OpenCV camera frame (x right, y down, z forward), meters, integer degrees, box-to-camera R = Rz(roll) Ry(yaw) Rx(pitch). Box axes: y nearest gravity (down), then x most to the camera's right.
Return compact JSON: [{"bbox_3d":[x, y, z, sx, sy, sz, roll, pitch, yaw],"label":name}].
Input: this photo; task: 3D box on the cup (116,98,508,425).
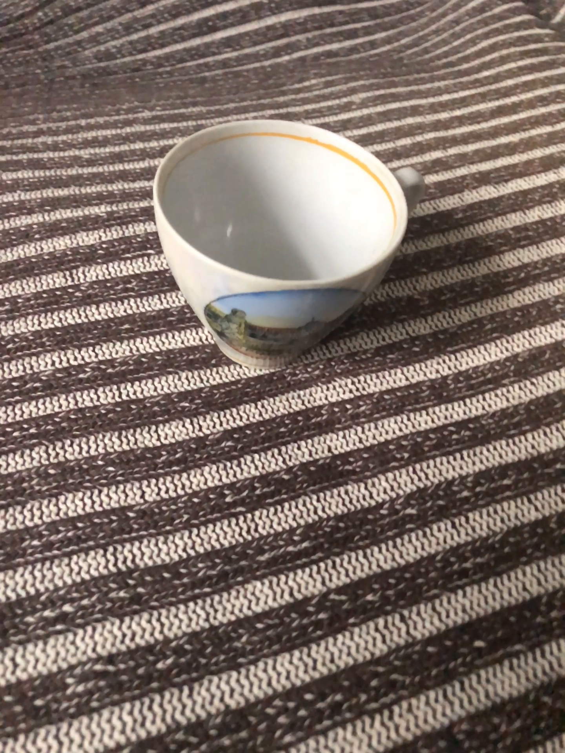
[{"bbox_3d":[0.004,-0.034,0.174,0.079,0.042,0.061,-18,60,-20],"label":"cup"}]
